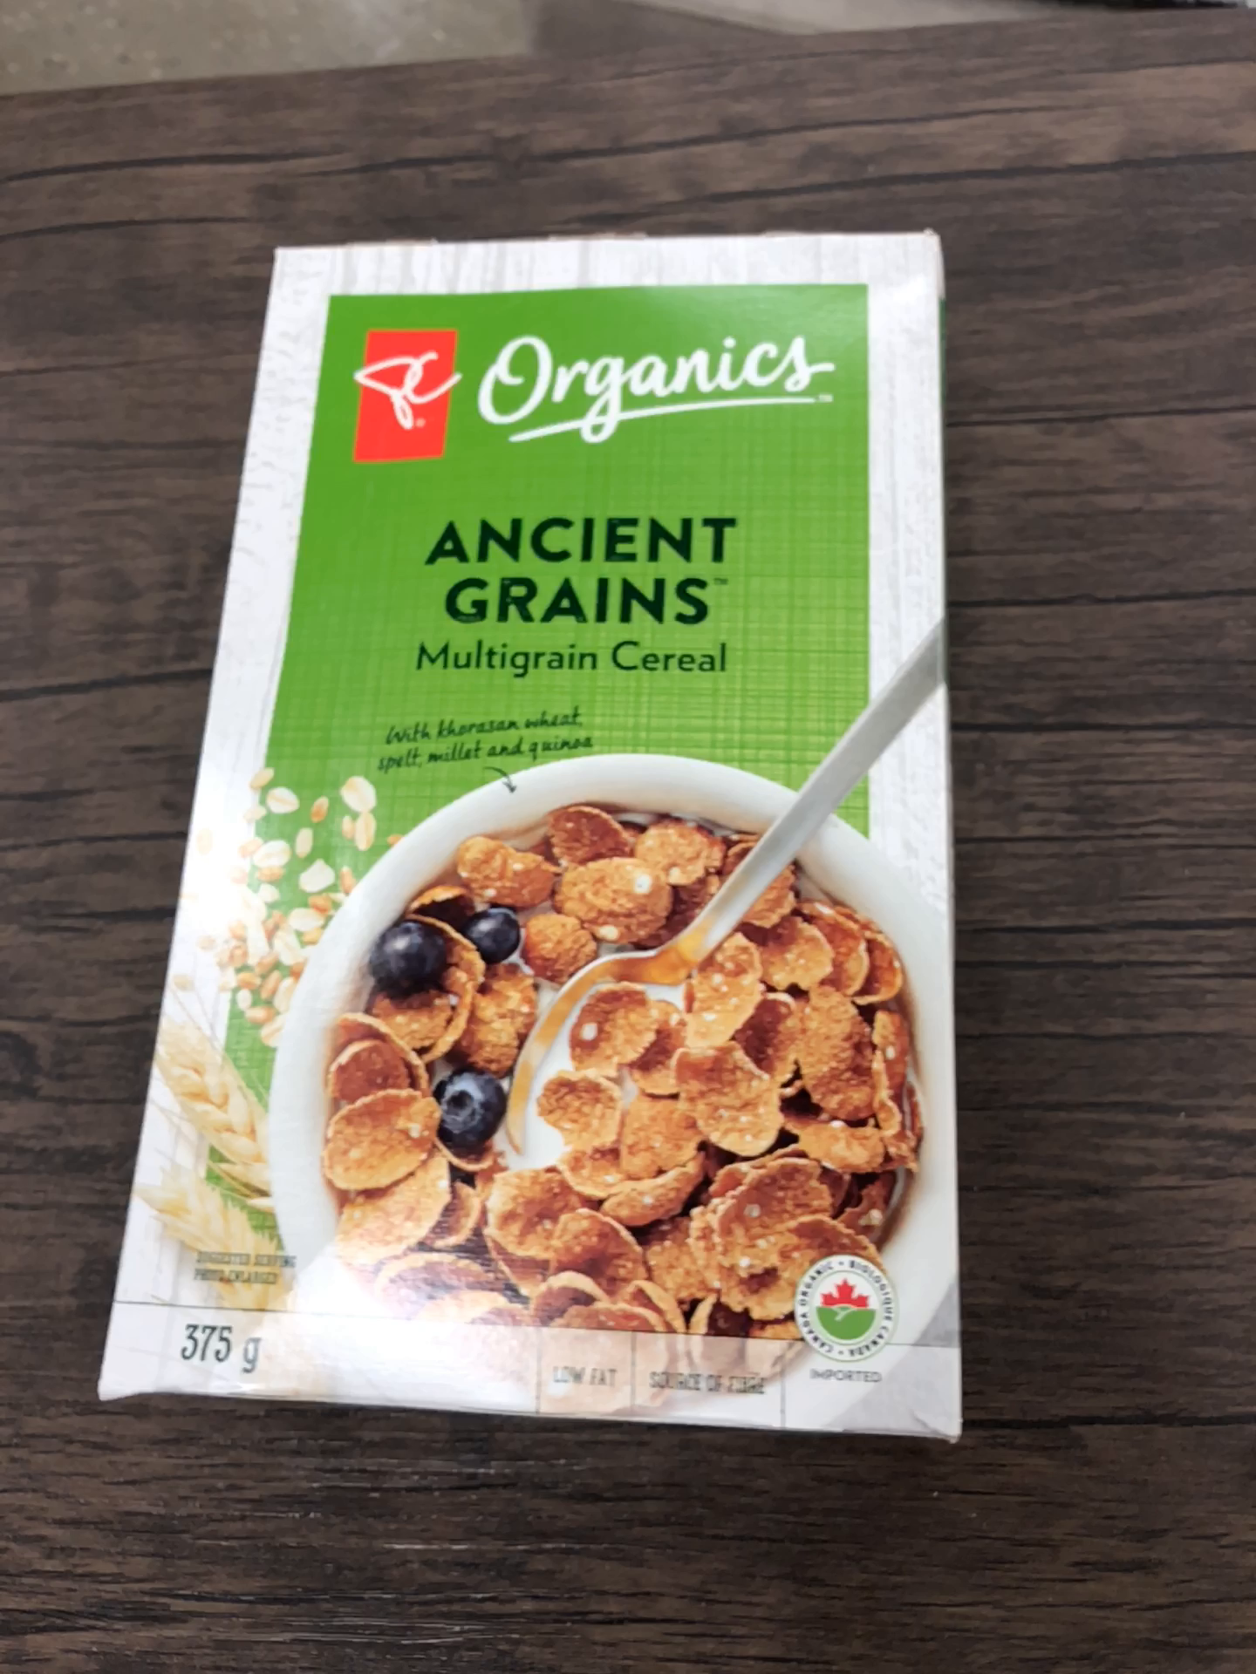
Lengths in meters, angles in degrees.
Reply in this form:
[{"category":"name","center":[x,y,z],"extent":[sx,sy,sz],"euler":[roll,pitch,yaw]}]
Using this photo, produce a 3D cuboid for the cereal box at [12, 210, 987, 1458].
[{"category":"cereal box","center":[-0.018,-0.007,0.312],"extent":[0.170,0.070,0.250],"euler":[0,73,6]}]
